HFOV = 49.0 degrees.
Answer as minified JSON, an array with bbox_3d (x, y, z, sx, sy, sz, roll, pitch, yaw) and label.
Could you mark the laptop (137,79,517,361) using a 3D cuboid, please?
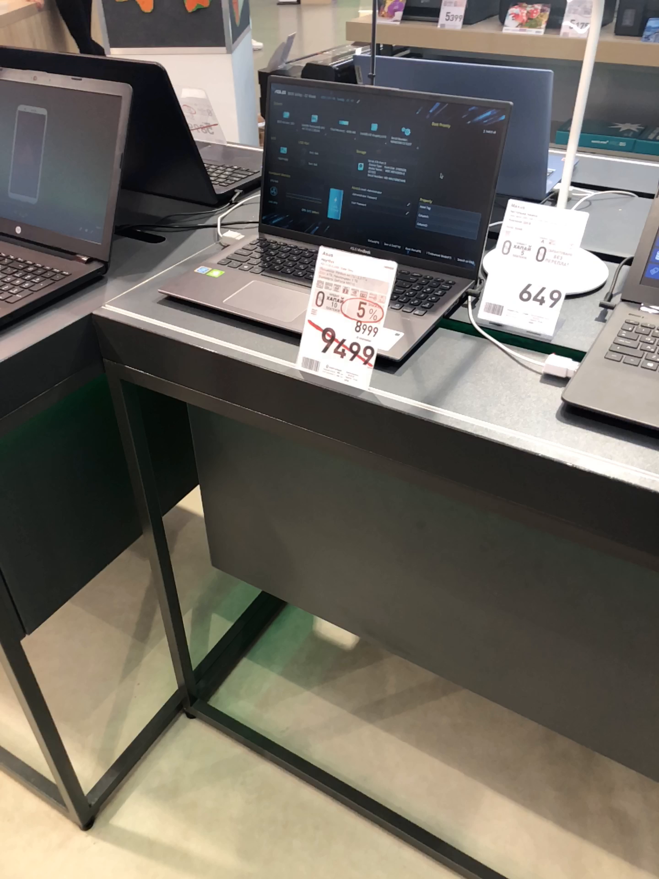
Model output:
[{"bbox_3d":[0.001,-0.298,0.904,0.356,0.200,0.288,19,43,27],"label":"laptop"}]
